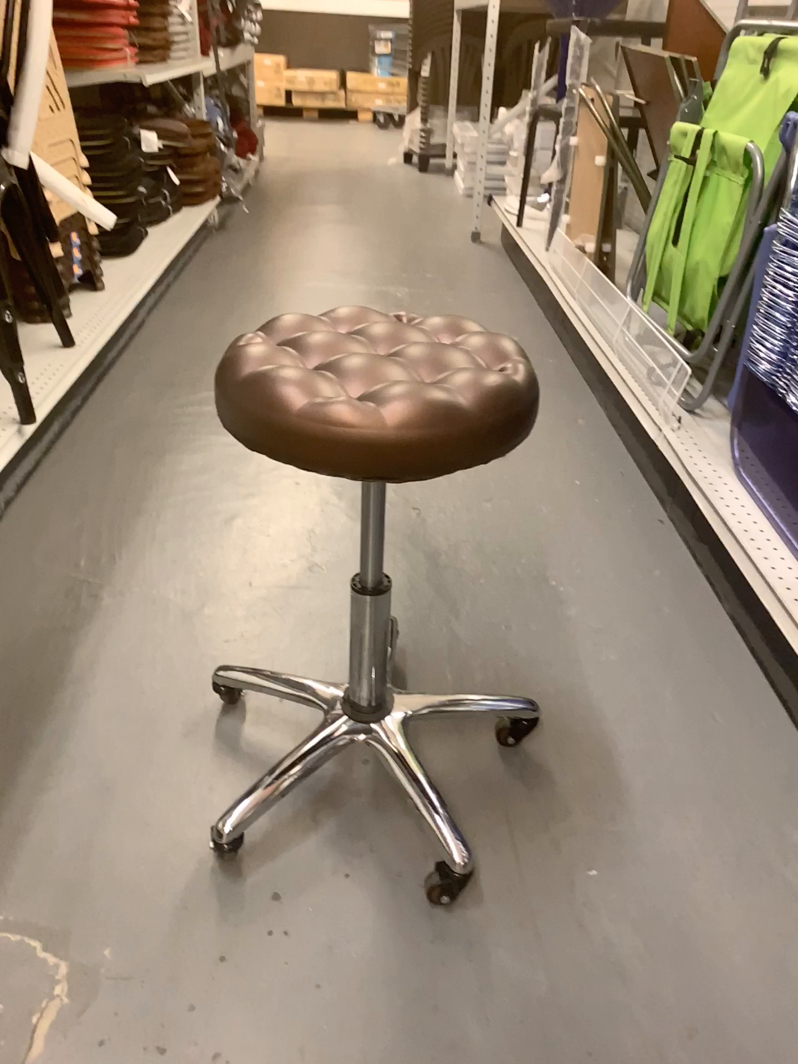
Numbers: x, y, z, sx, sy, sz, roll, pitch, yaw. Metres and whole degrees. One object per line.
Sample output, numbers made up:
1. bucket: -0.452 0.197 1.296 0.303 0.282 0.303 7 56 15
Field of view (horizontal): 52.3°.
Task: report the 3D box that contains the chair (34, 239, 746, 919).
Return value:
1. chair: -0.017 0.028 0.940 0.501 0.574 0.514 2 31 -1
